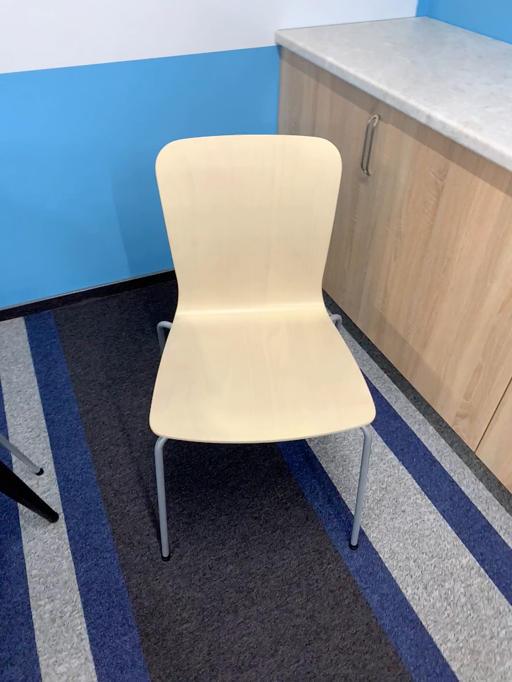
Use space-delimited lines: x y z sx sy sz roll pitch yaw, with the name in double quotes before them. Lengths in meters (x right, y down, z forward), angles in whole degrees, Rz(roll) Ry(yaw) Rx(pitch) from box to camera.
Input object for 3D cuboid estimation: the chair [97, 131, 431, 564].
"chair" -0.007 0.034 1.229 0.476 0.836 0.573 -2 41 -3
